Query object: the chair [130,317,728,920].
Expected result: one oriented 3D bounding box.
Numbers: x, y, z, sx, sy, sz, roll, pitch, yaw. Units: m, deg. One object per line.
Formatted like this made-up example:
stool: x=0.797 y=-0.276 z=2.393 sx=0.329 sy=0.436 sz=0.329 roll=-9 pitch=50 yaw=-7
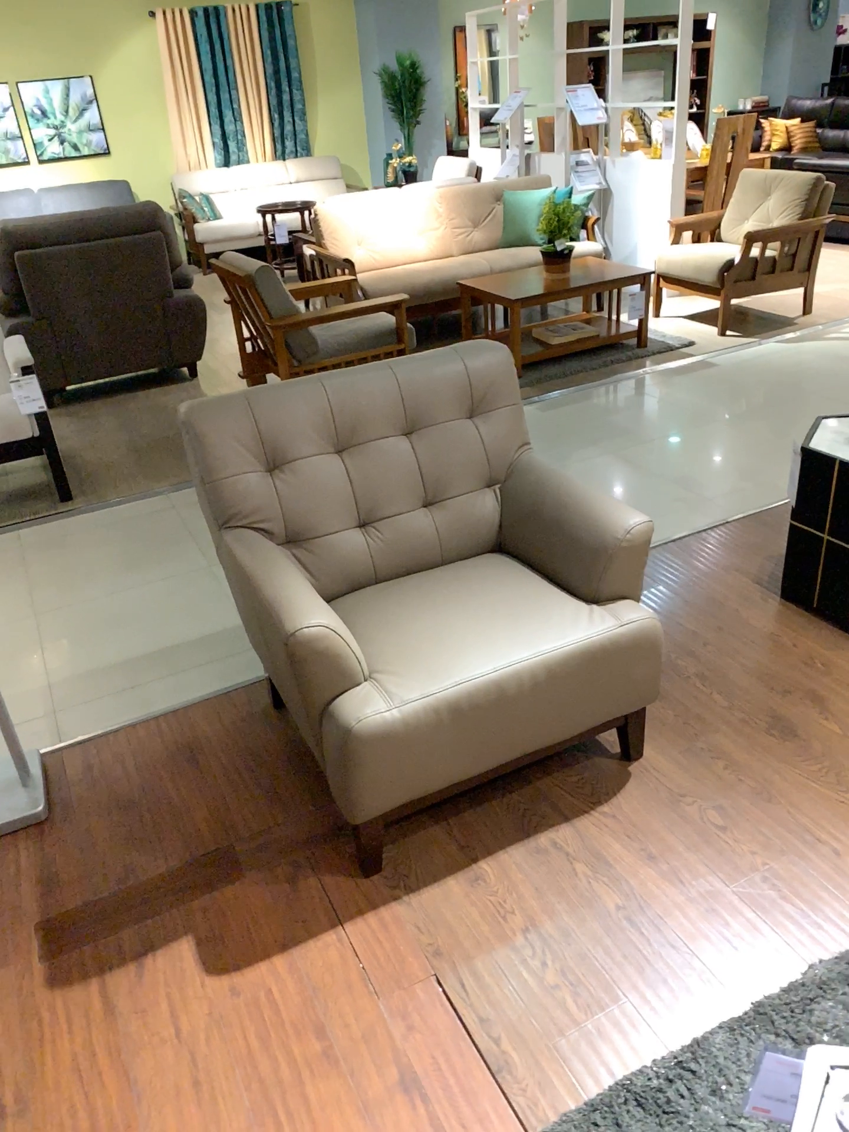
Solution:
chair: x=-0.038 y=-0.004 z=2.084 sx=0.950 sy=0.856 sz=1.004 roll=-17 pitch=31 yaw=-22
